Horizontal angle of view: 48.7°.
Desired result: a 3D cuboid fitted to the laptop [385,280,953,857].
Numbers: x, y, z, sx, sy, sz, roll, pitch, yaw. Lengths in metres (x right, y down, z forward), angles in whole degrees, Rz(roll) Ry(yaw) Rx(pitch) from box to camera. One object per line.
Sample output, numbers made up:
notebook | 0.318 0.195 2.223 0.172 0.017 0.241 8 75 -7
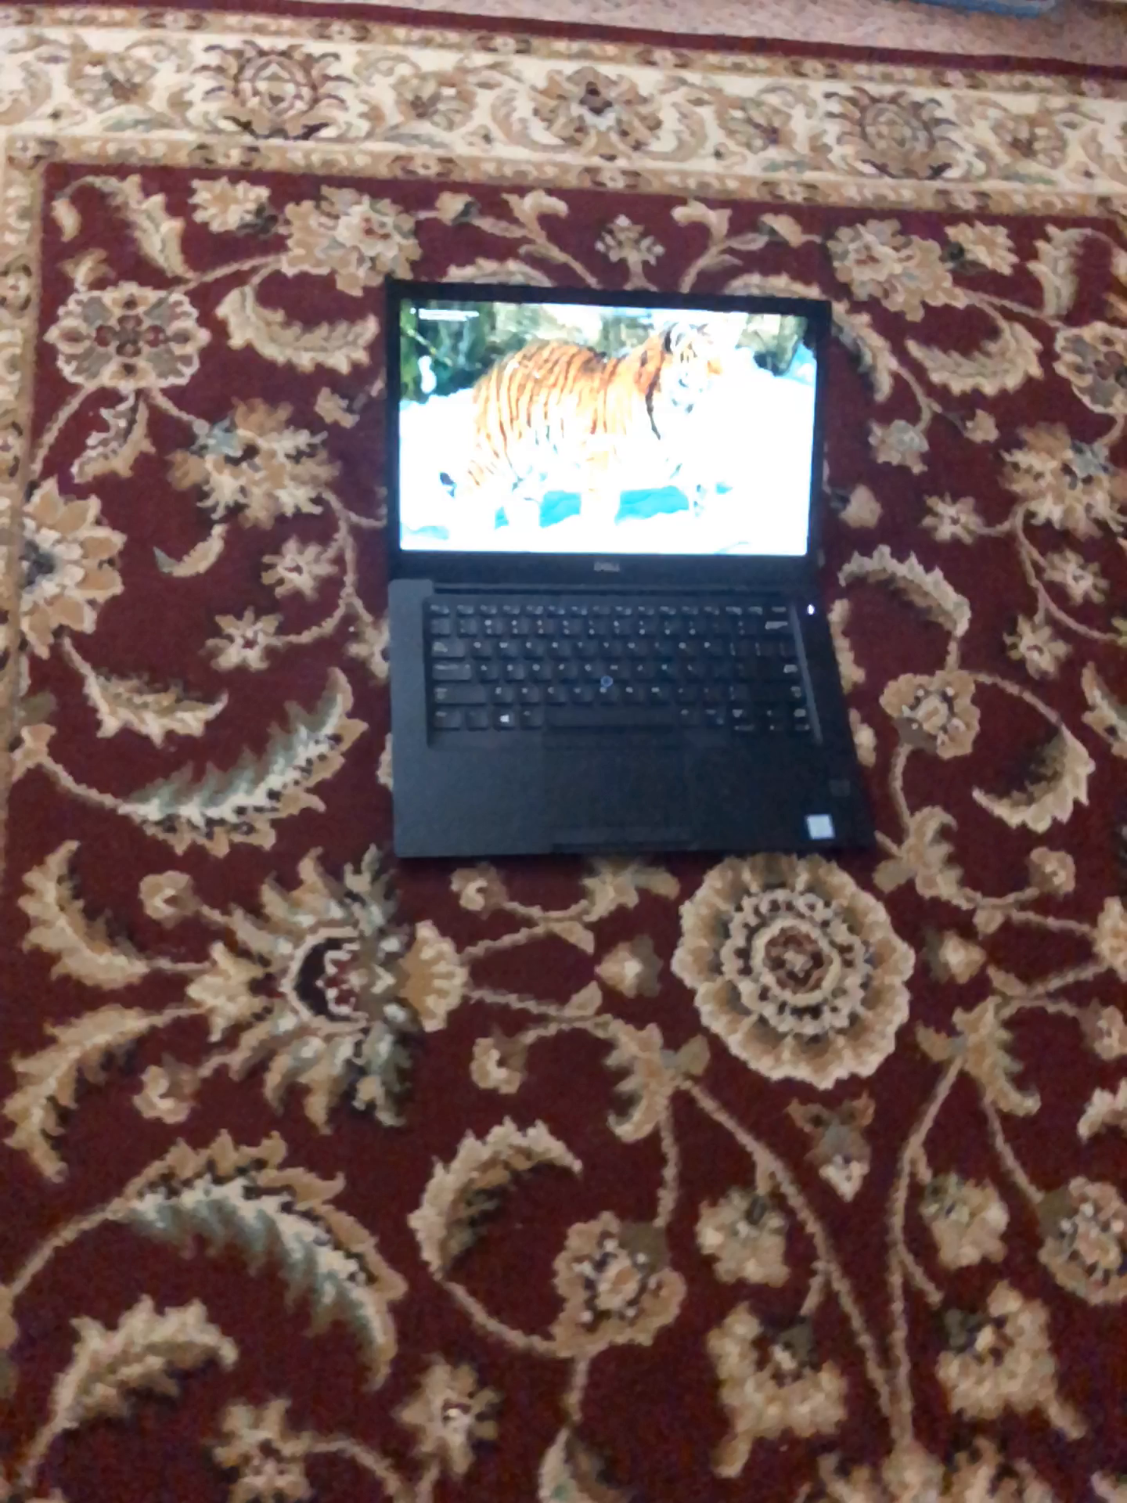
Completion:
laptop | 0.046 -0.135 0.863 0.328 0.124 0.384 -1 63 -9
